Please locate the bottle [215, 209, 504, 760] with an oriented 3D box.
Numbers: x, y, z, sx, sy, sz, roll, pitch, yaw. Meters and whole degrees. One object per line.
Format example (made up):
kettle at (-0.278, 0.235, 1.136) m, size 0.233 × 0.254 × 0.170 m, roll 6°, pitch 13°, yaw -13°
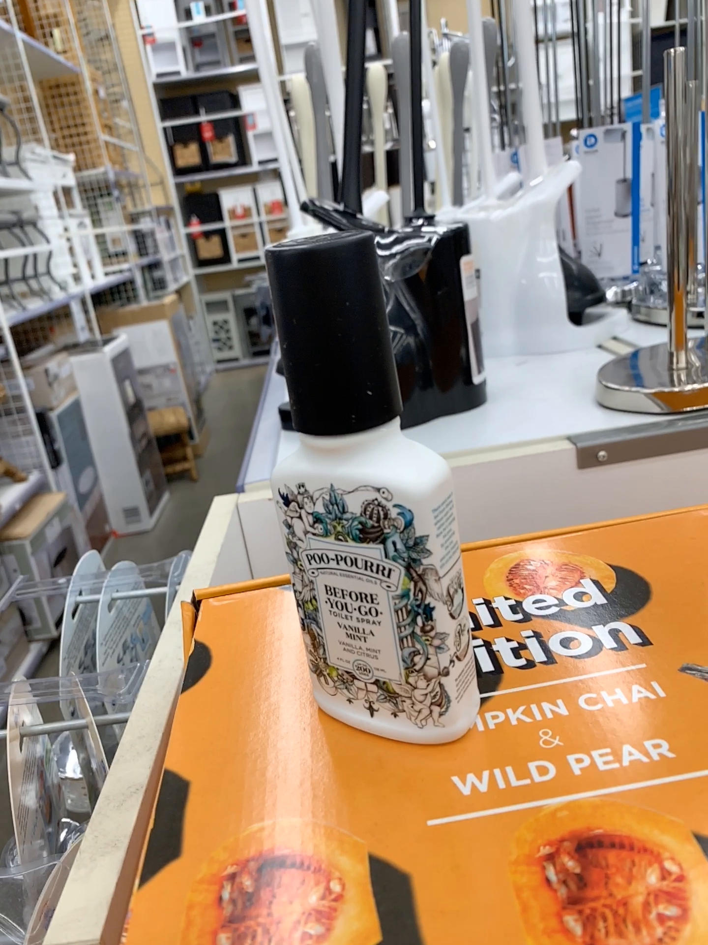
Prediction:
bottle at (0.006, 0.006, 0.218) m, size 0.055 × 0.151 × 0.033 m, roll 4°, pitch 24°, yaw 32°
